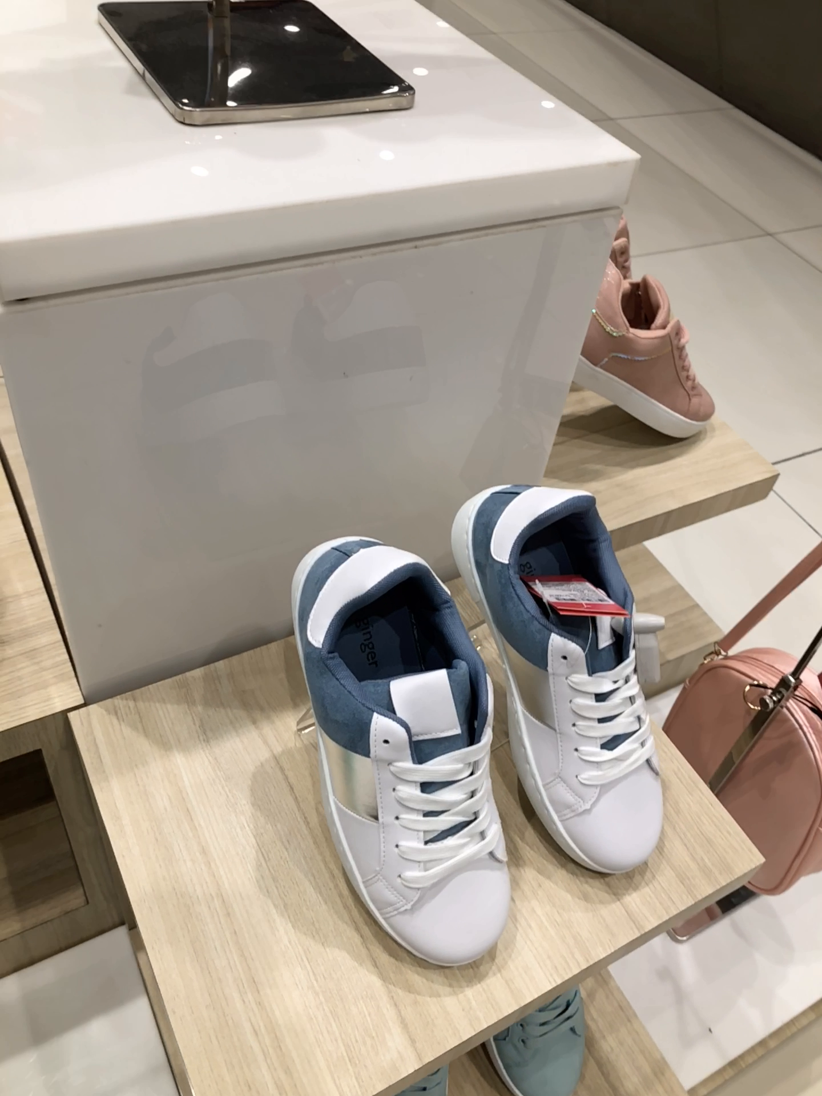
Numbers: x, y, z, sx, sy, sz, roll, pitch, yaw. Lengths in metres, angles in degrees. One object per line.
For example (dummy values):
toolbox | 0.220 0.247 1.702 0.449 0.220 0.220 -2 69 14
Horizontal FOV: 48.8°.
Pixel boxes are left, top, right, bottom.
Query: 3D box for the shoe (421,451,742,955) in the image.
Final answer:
shoe | 0.103 0.083 0.551 0.102 0.263 0.103 -17 10 -25

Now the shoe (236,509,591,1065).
shoe | 0.000 0.118 0.497 0.092 0.261 0.103 -20 10 -26
